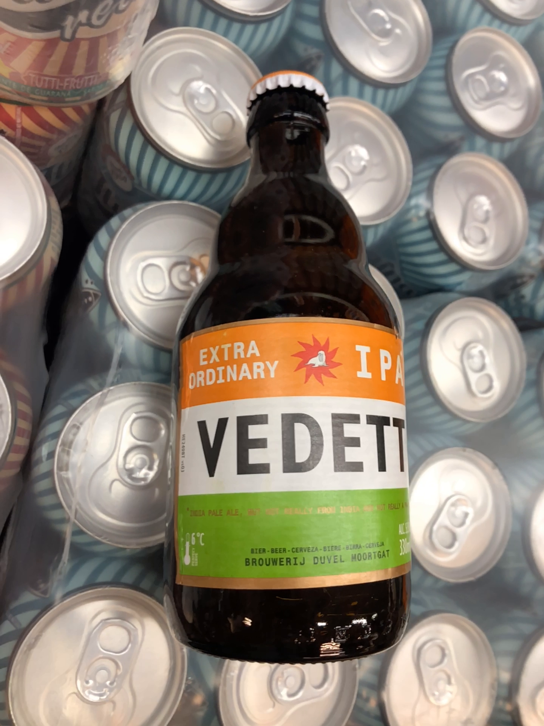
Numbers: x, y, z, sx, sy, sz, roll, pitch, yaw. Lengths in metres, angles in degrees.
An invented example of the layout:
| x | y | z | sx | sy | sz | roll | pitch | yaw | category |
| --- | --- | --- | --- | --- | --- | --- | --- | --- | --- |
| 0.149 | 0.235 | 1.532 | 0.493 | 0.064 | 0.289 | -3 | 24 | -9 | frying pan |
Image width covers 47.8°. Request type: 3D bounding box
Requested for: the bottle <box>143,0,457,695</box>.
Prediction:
| x | y | z | sx | sy | sz | roll | pitch | yaw | category |
| --- | --- | --- | --- | --- | --- | --- | --- | --- | --- |
| 0.006 | -0.016 | 0.188 | 0.070 | 0.060 | 0.190 | 5 | 81 | -23 | bottle |
